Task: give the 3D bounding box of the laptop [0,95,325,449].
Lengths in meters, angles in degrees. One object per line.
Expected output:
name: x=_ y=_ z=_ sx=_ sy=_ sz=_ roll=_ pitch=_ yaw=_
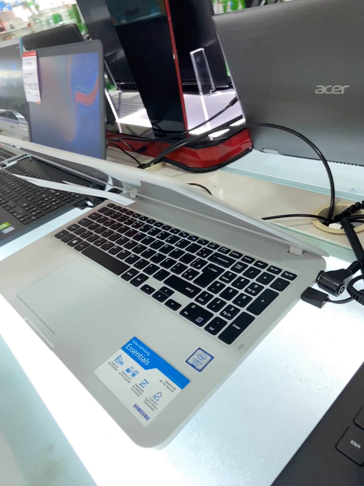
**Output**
laptop: x=-0.083 y=-0.035 z=0.397 sx=0.232 sy=0.162 sz=0.368 roll=-36 pitch=38 yaw=-28
